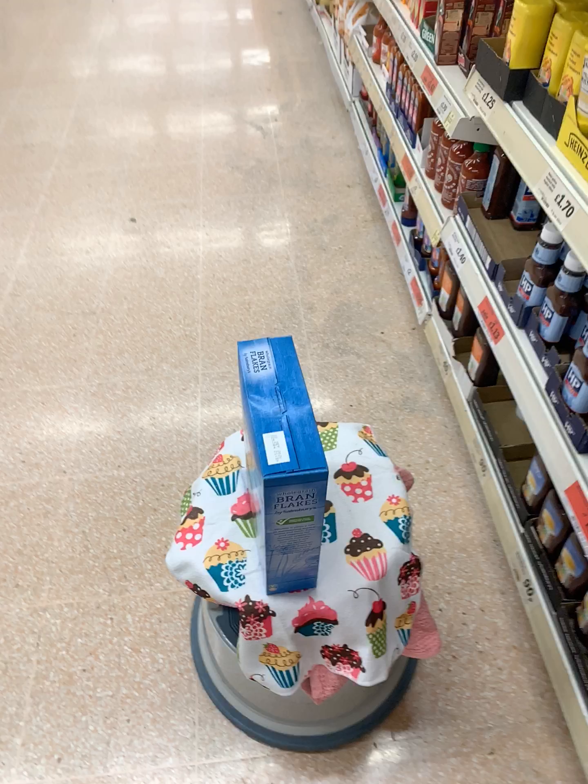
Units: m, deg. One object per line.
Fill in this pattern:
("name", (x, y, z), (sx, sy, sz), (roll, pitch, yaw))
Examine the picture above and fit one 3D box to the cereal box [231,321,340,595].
("cereal box", (-0.015, 0.085, 0.736), (0.080, 0.258, 0.212), (-8, 48, -7))
